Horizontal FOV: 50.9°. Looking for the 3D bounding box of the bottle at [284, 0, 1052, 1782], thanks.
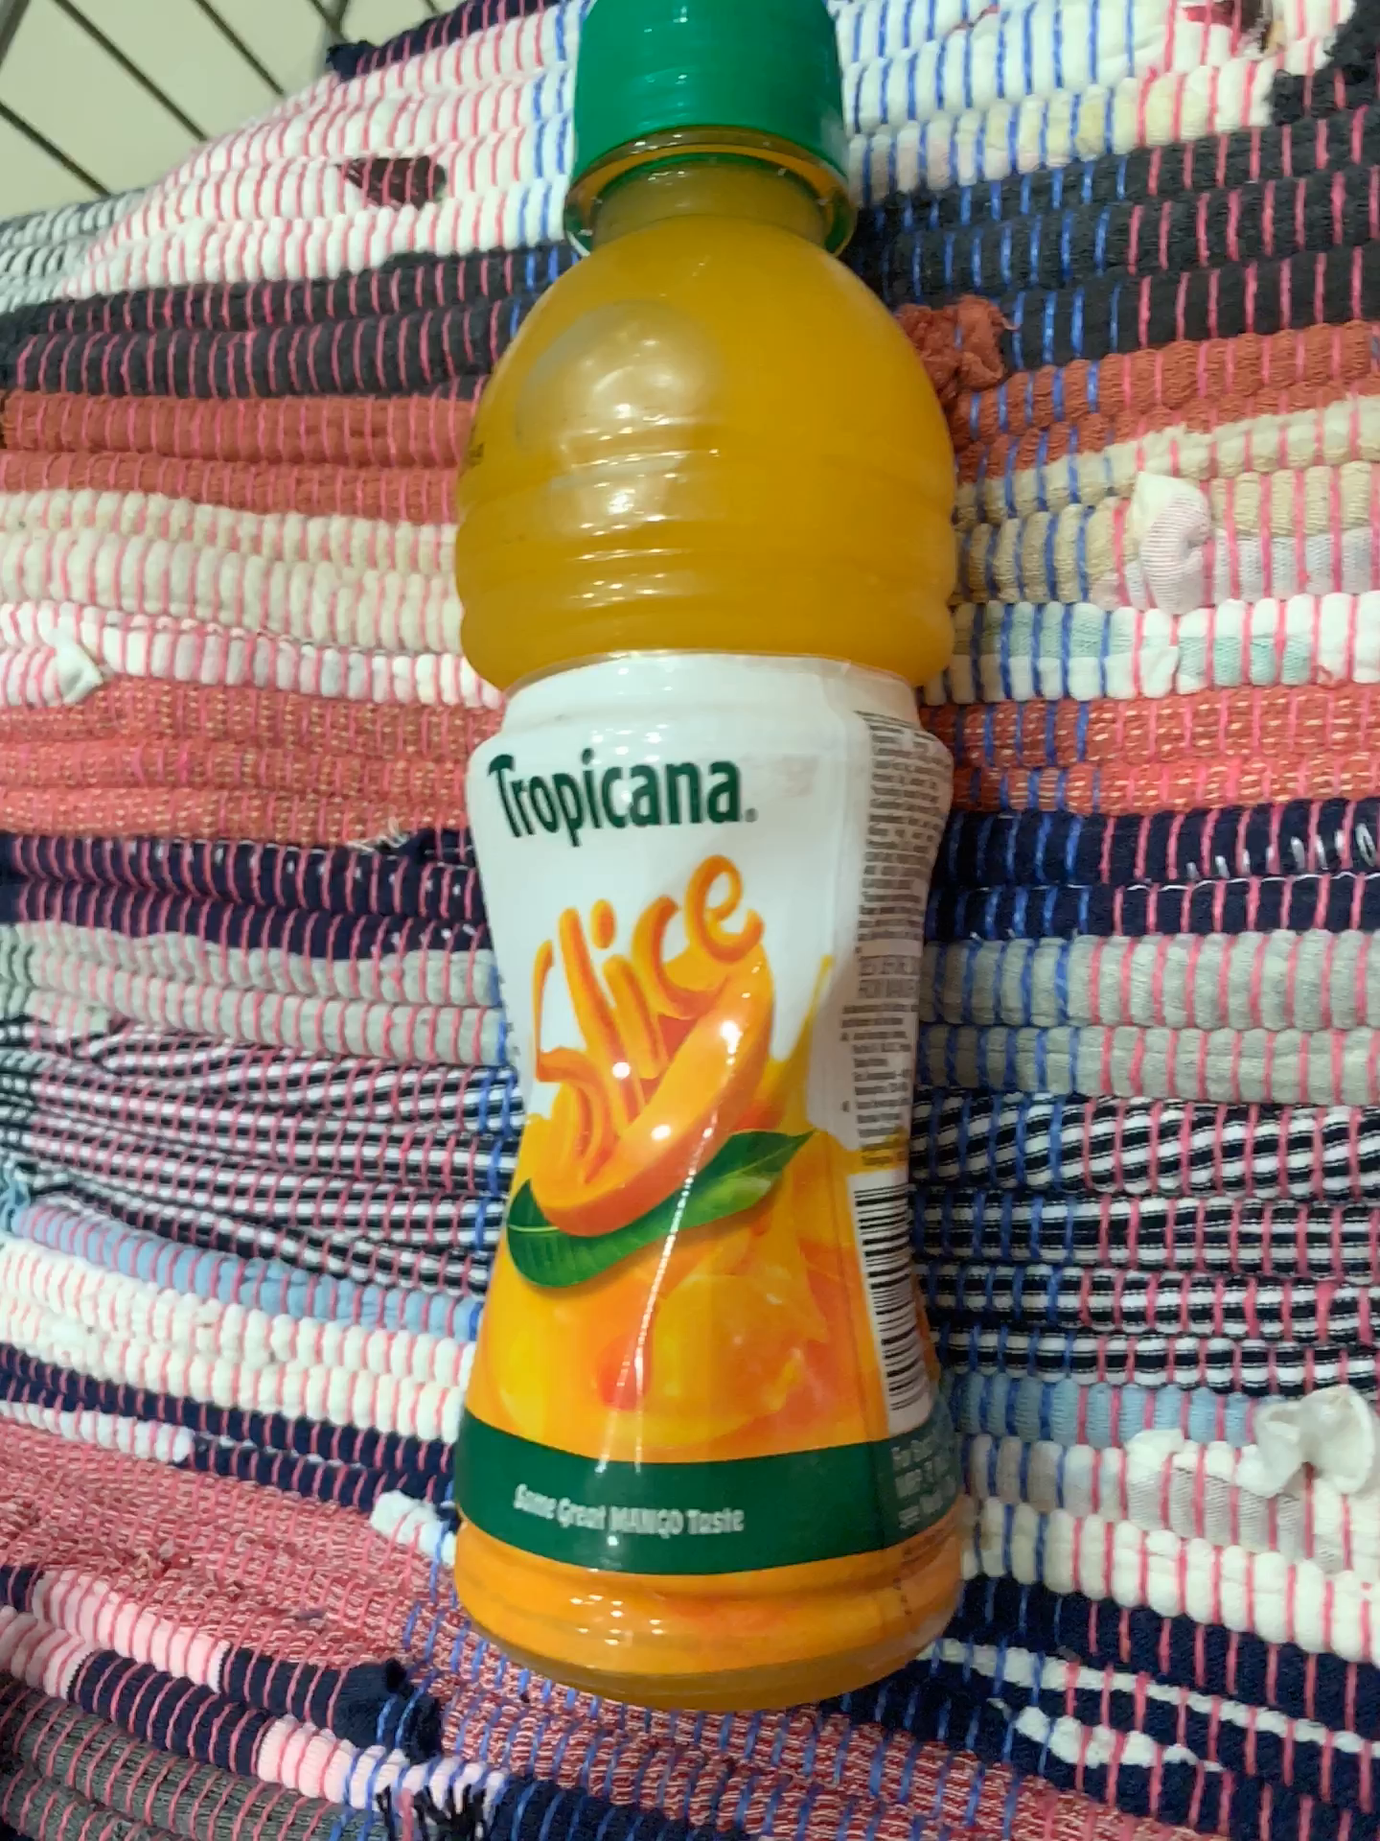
[{"bbox_3d":[0.003,-0.022,0.161,0.060,0.050,0.190,1,84,23],"label":"bottle"}]
